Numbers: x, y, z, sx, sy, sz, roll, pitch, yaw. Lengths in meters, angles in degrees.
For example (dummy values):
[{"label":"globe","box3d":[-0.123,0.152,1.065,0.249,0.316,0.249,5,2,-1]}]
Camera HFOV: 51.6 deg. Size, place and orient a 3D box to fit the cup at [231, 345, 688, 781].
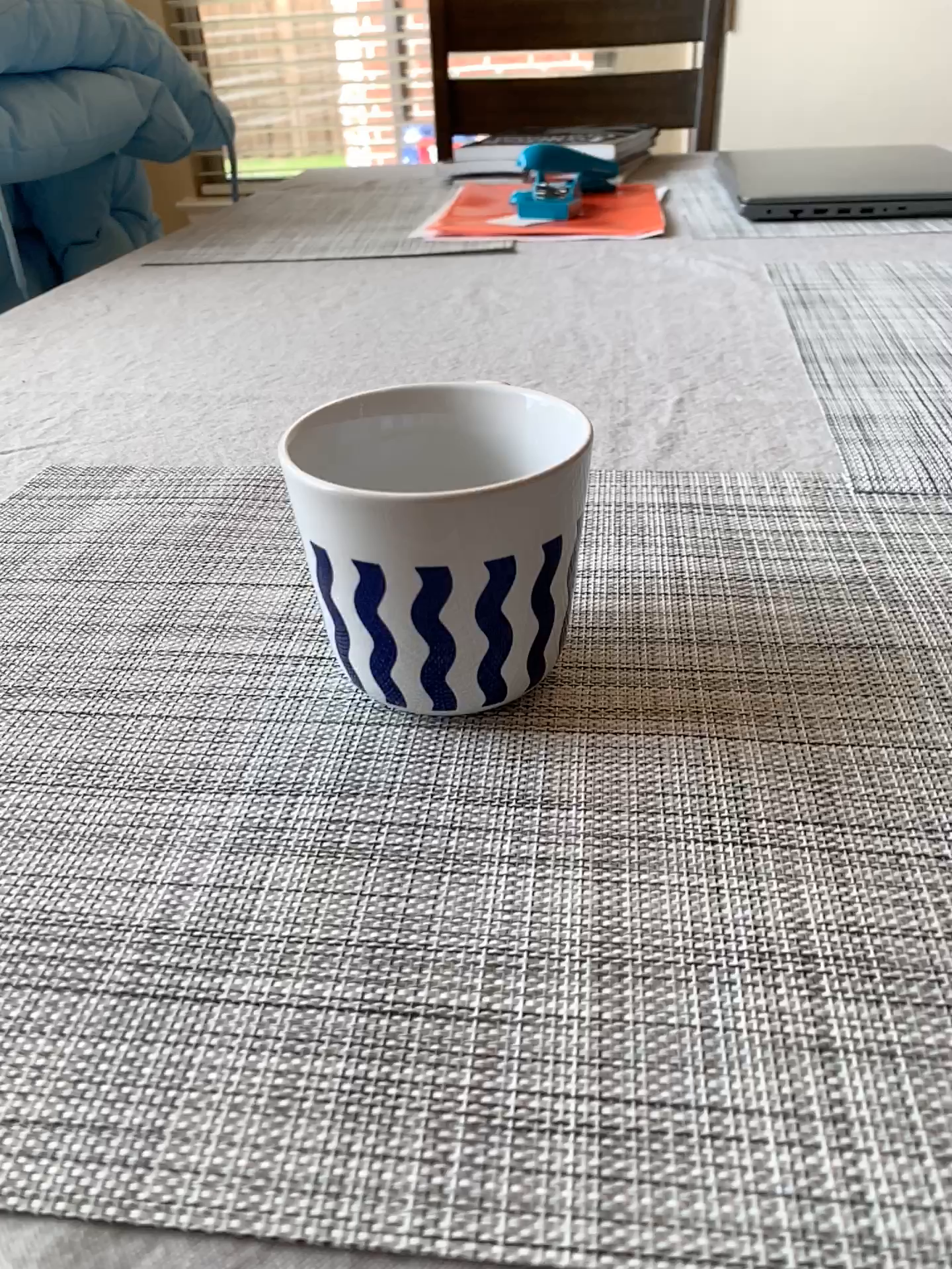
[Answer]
[{"label":"cup","box3d":[0.004,-0.030,0.287,0.086,0.072,0.113,11,34,21]}]
